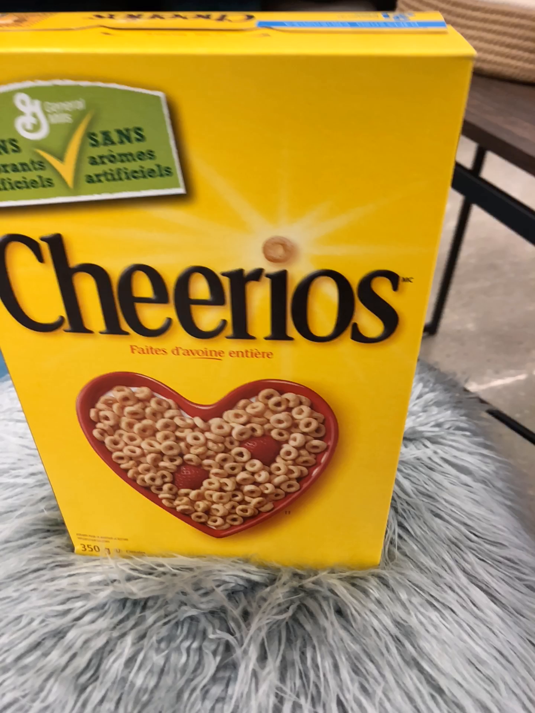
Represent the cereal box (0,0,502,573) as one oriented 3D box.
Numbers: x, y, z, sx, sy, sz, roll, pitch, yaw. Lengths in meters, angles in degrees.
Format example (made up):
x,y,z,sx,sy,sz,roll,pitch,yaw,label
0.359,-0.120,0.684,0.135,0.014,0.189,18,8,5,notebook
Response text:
x,y,z,sx,sy,sz,roll,pitch,yaw,label
-0.035,-0.010,0.309,0.210,0.289,0.080,2,38,0,cereal box
